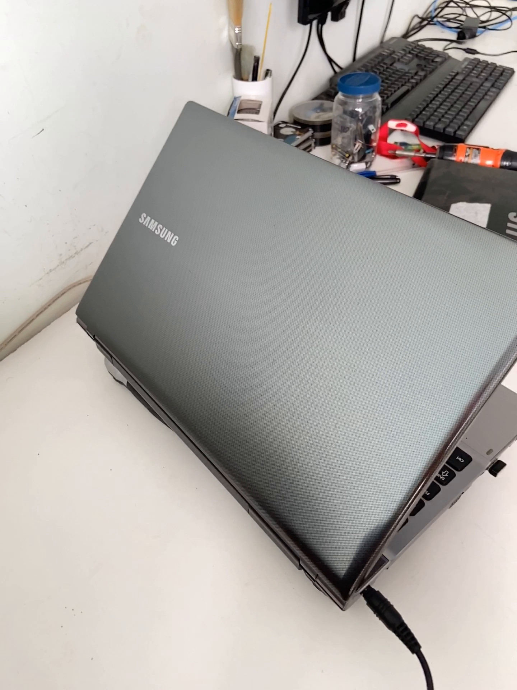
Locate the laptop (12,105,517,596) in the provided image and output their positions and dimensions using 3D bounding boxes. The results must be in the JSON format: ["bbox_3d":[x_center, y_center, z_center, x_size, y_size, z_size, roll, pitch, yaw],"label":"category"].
[{"bbox_3d":[0.015,-0.045,0.428,0.231,0.164,0.359,-30,49,-30],"label":"laptop"}]
